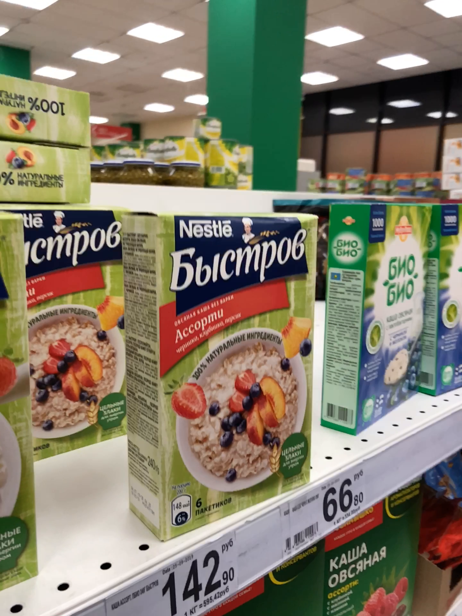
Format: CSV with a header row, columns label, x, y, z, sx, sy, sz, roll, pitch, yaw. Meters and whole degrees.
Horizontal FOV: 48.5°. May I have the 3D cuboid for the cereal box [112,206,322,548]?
label,x,y,z,sx,sy,sz,roll,pitch,yaw
cereal box,-0.005,0.034,0.347,0.130,0.199,0.050,-7,11,-35
